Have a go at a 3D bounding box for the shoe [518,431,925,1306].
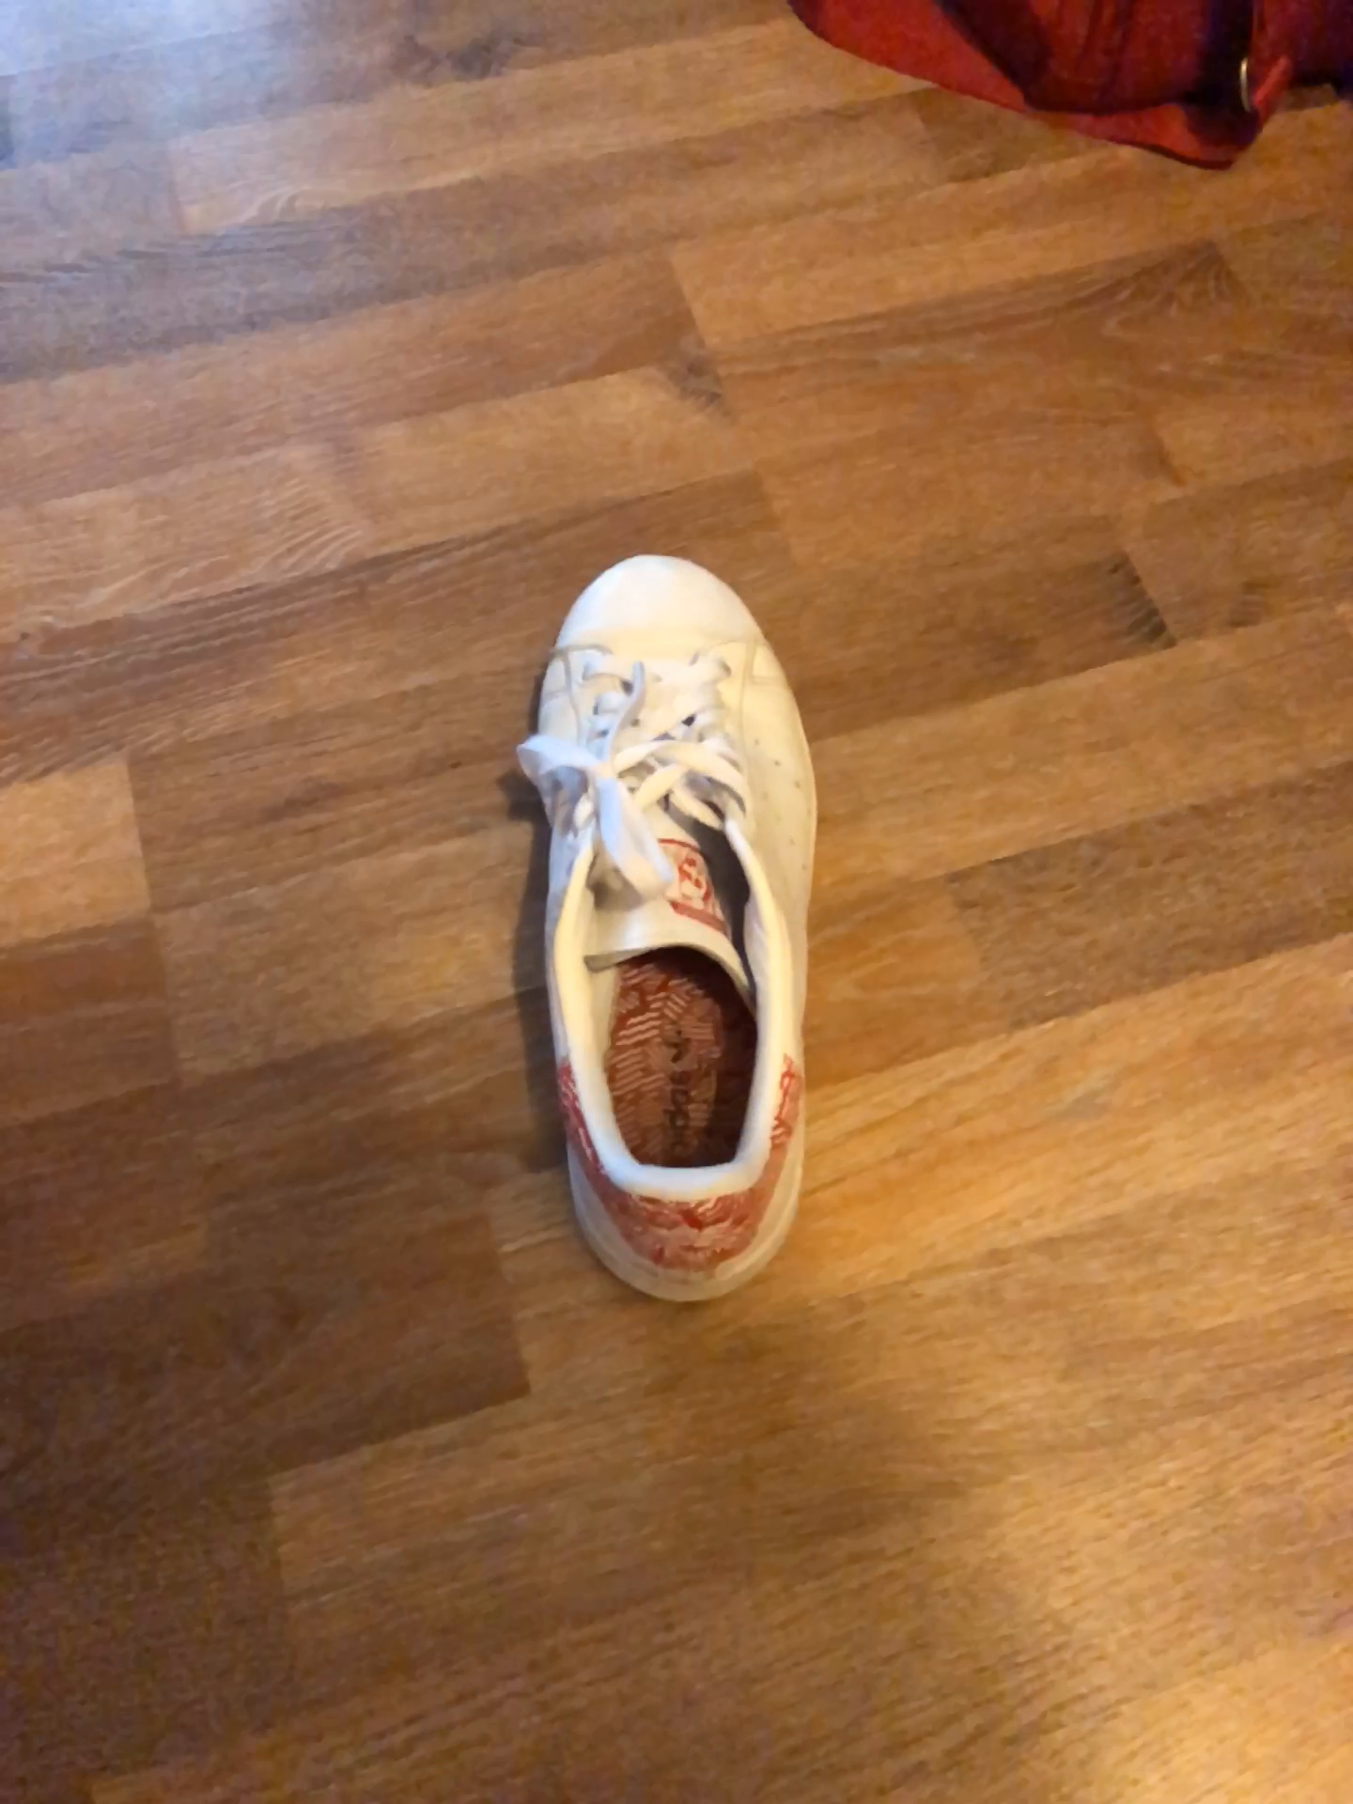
[{"bbox_3d":[0.005,-0.013,0.474,0.100,0.109,0.251,-2,64,-2],"label":"shoe"}]
